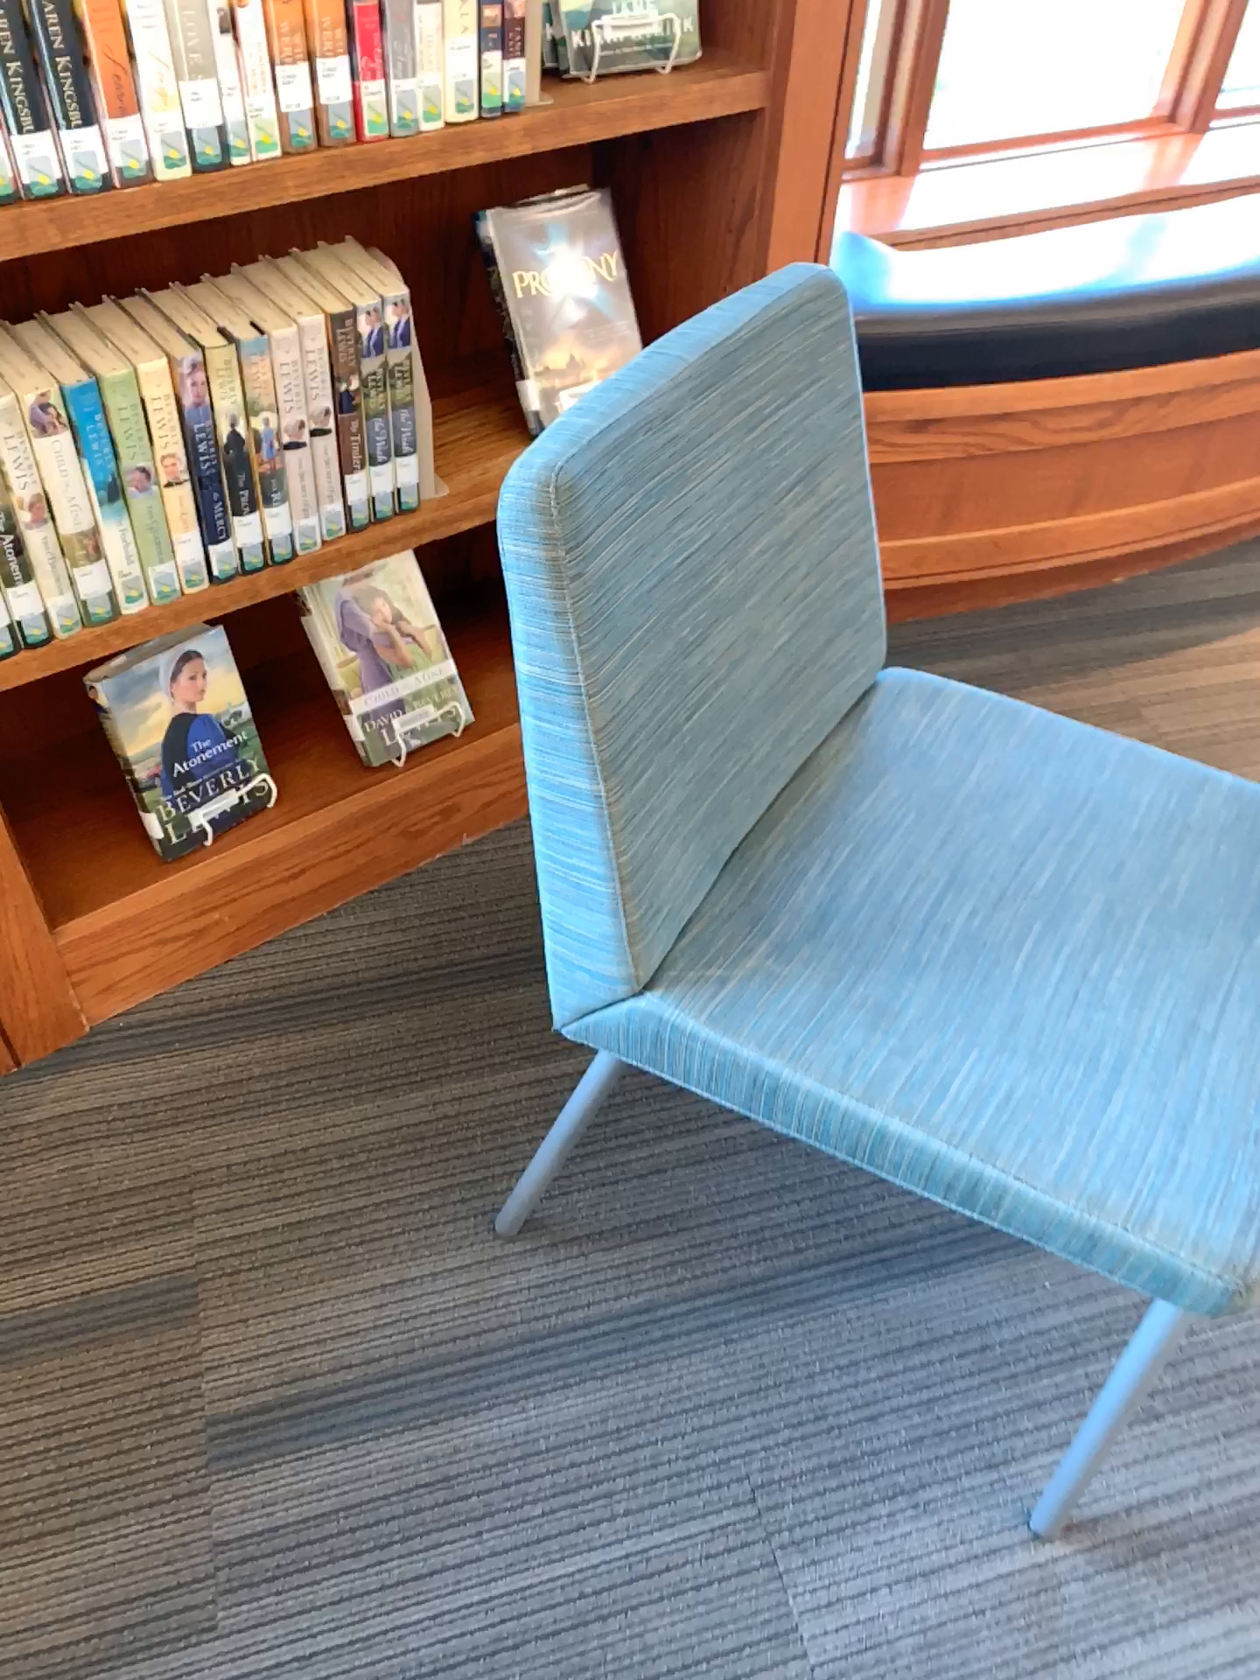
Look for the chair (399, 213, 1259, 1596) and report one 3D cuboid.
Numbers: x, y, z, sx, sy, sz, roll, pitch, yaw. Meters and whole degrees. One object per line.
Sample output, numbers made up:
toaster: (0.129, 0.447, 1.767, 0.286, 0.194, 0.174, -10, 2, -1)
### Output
chair: (0.253, 0.052, 1.035, 0.591, 0.787, 0.552, 24, 48, 20)
